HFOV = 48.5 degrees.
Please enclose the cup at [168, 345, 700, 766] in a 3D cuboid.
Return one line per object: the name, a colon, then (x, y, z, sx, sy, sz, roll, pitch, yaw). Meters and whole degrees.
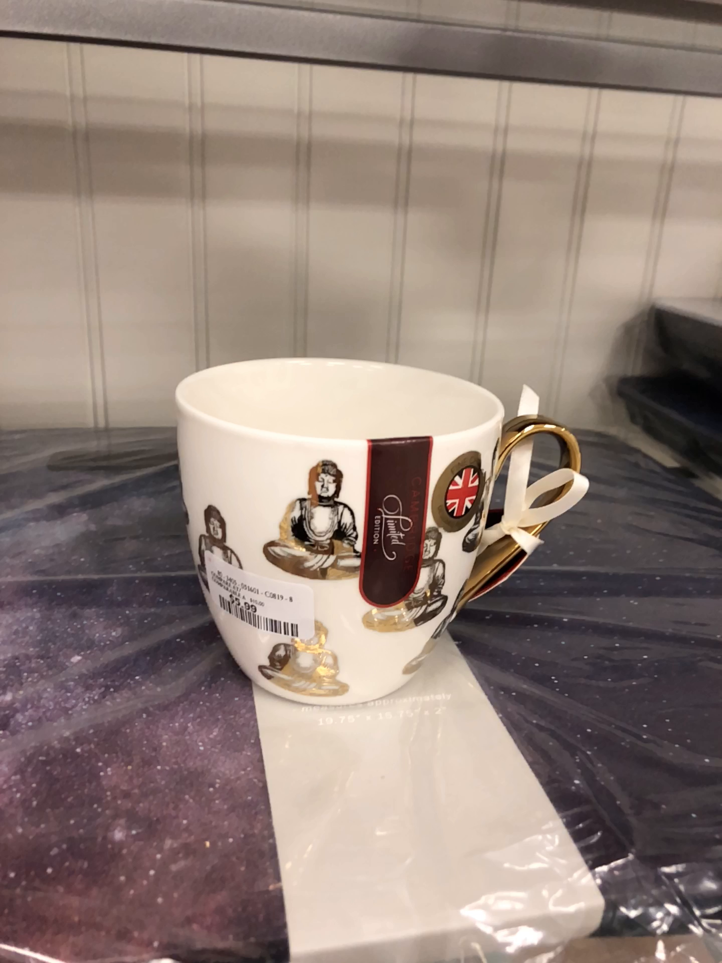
cup: (0.012, 0.011, 0.264, 0.137, 0.089, 0.101, -4, 22, -17)
